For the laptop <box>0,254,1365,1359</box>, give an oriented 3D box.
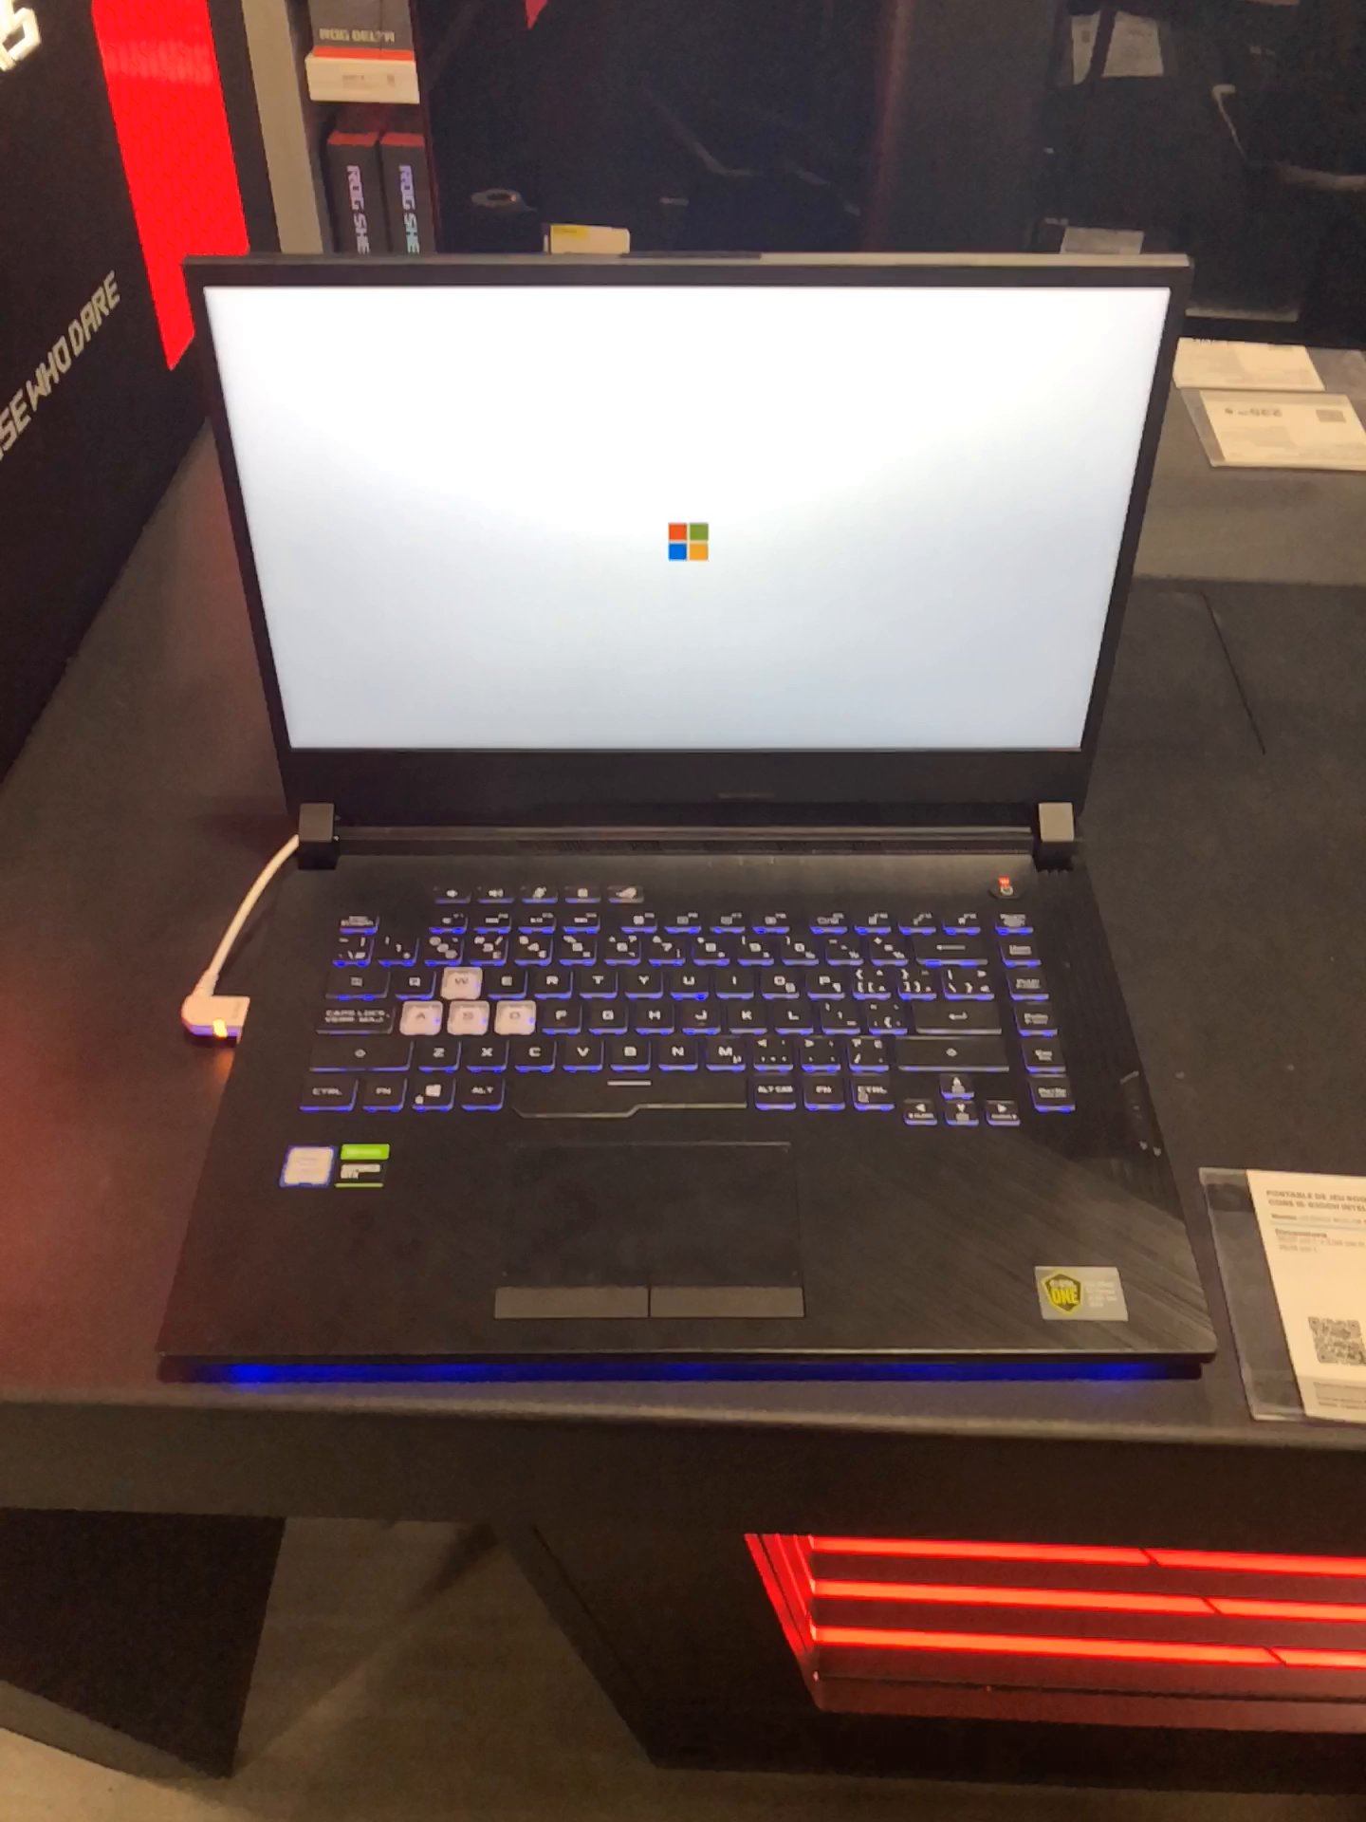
[{"bbox_3d":[0.003,-0.037,0.526,0.360,0.268,0.276,0,45,-1],"label":"laptop"}]
